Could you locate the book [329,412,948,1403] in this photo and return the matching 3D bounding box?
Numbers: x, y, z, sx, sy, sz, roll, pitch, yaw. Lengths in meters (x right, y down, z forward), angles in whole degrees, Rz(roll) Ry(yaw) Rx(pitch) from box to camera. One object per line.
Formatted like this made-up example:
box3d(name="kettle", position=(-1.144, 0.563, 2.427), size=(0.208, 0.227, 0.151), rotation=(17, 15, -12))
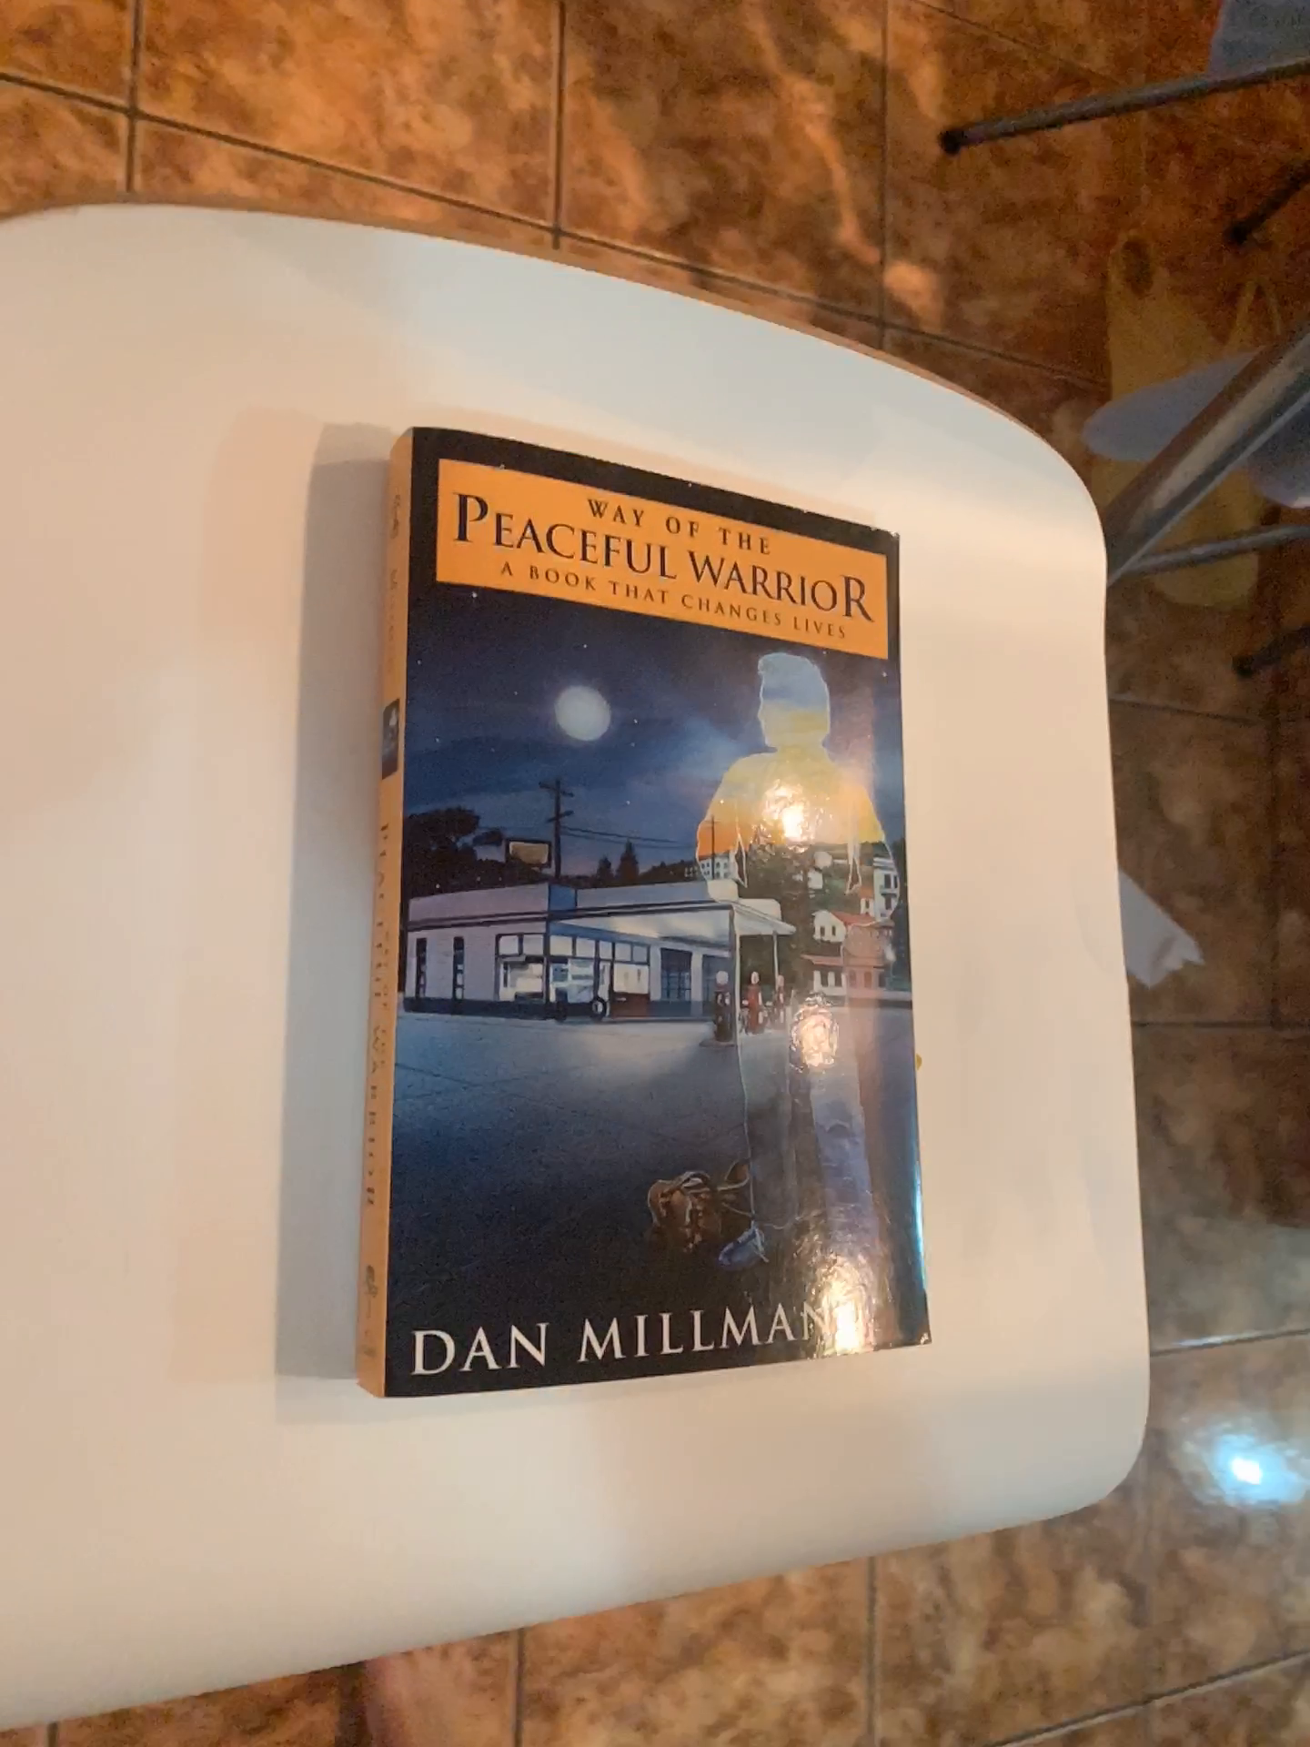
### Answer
box3d(name="book", position=(0.001, 0.010, 0.332), size=(0.141, 0.039, 0.210), rotation=(5, 85, -26))
